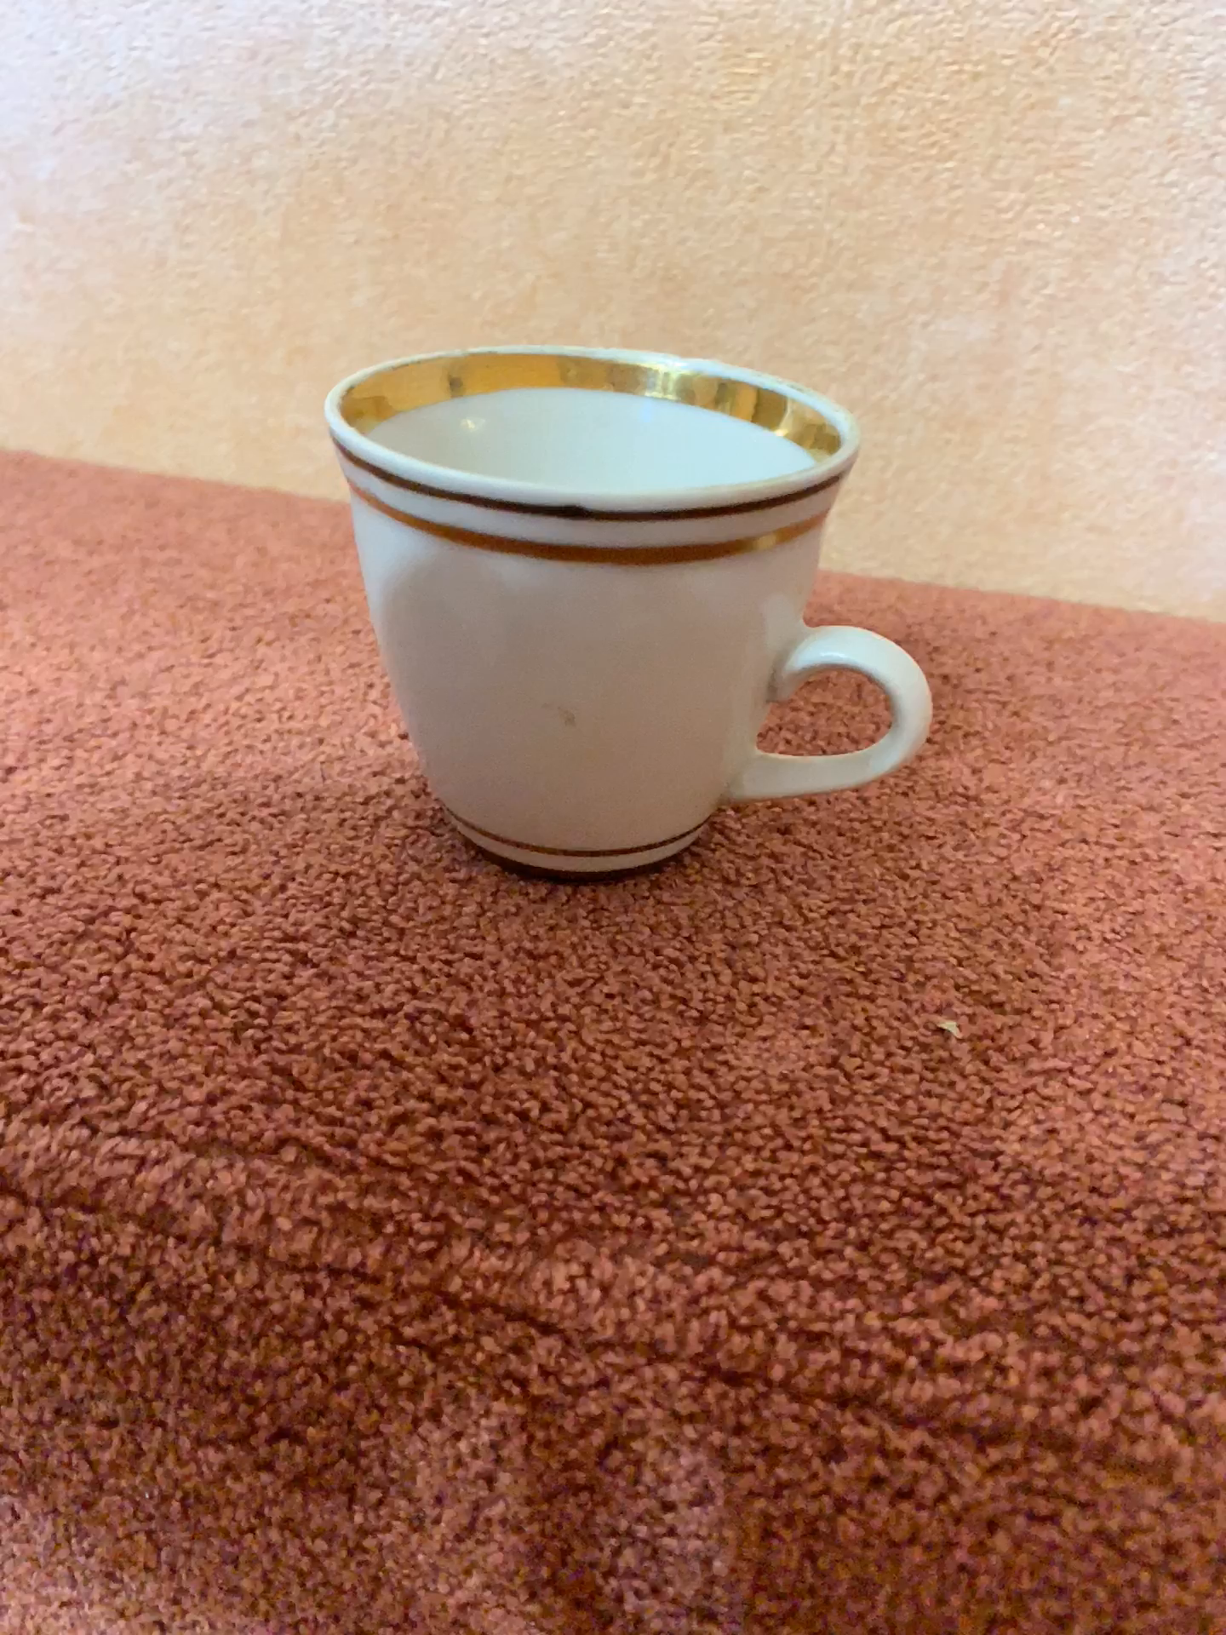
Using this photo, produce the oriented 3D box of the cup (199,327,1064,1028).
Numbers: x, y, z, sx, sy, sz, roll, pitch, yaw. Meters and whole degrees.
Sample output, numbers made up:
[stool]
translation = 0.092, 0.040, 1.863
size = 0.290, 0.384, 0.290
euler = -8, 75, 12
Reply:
[cup]
translation = 0.004, -0.022, 0.152
size = 0.078, 0.048, 0.055
euler = 16, 35, 19
